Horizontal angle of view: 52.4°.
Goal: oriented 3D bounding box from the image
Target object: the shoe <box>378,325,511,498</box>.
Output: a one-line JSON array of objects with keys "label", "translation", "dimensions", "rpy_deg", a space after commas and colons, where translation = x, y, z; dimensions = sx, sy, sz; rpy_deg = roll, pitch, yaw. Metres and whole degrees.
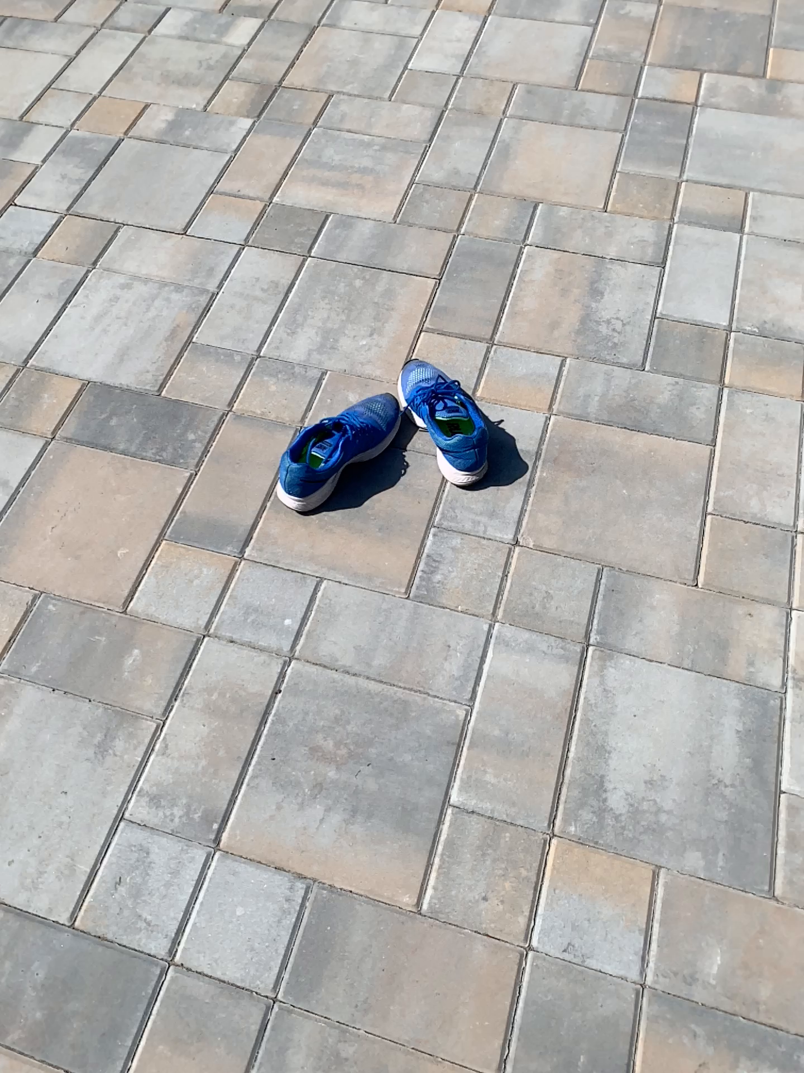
[{"label": "shoe", "translation": [0.067, -0.219, 1.415], "dimensions": [0.120, 0.110, 0.271], "rpy_deg": [-21, 60, -11]}]

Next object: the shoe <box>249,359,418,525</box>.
[{"label": "shoe", "translation": [-0.109, -0.164, 1.387], "dimensions": [0.120, 0.080, 0.280], "rpy_deg": [36, 66, 21]}]
